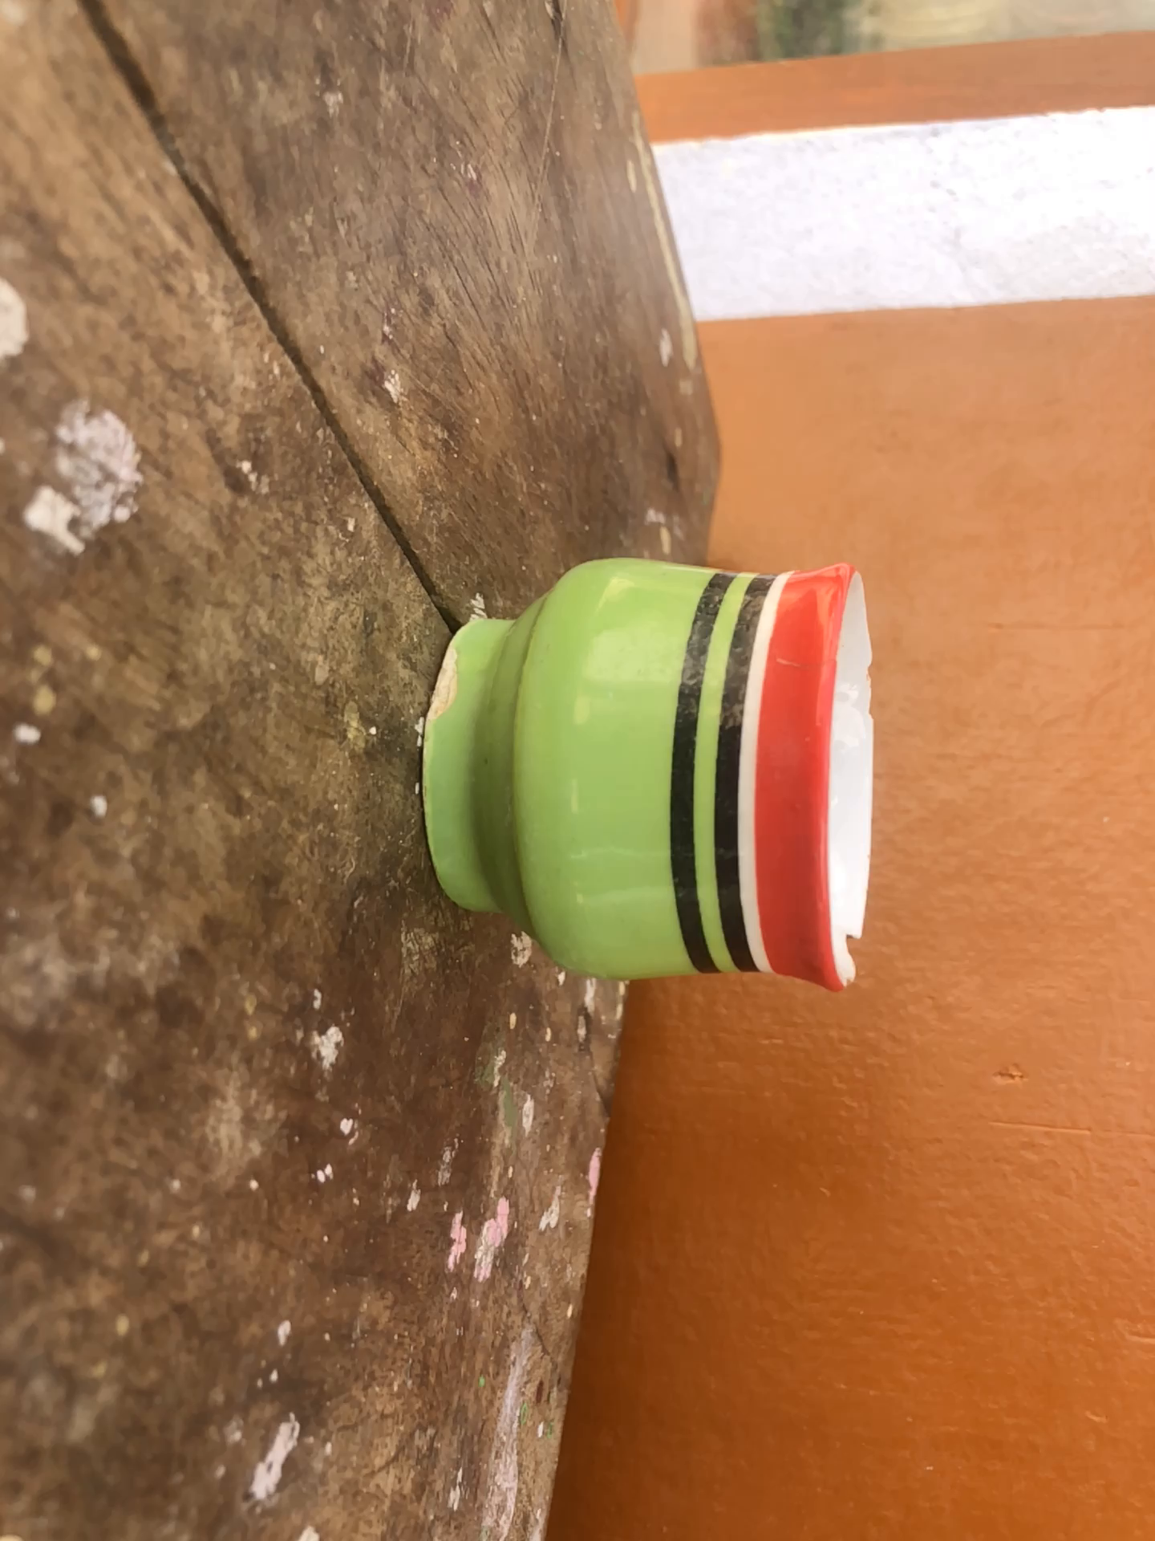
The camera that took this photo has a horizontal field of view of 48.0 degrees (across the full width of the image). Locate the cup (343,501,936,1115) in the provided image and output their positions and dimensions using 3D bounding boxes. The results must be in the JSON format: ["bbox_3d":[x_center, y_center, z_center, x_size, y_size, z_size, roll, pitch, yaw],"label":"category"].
[{"bbox_3d":[0.017,0.006,0.200,0.090,0.070,0.070,15,77,-76],"label":"cup"}]
